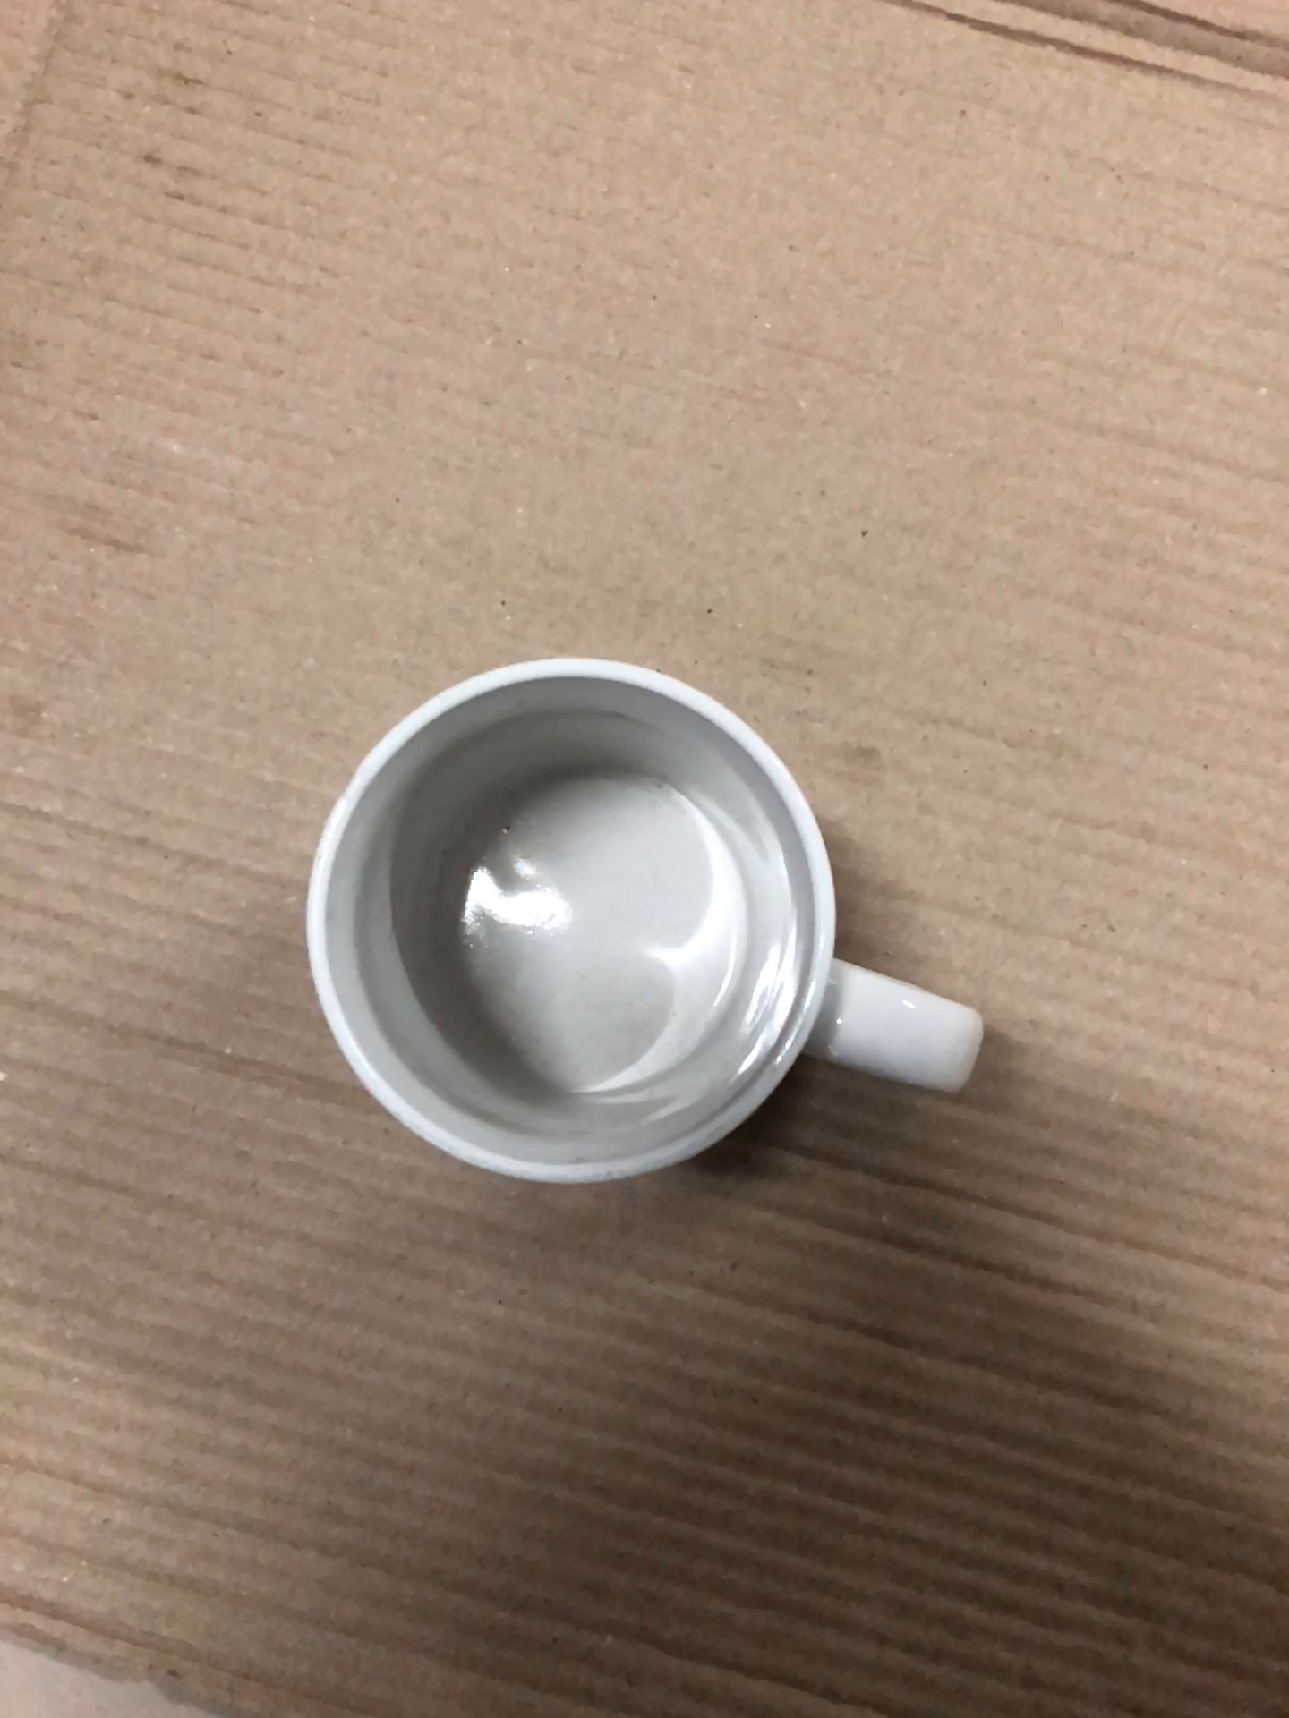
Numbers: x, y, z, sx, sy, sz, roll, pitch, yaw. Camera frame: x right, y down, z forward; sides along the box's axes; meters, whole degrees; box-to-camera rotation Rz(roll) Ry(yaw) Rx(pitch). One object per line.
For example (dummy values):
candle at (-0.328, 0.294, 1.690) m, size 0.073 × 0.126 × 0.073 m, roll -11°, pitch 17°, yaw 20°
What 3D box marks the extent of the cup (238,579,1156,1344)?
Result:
cup at (0.008, 0.018, 0.237) m, size 0.110 × 0.080 × 0.080 m, roll 15°, pitch 81°, yaw 2°
